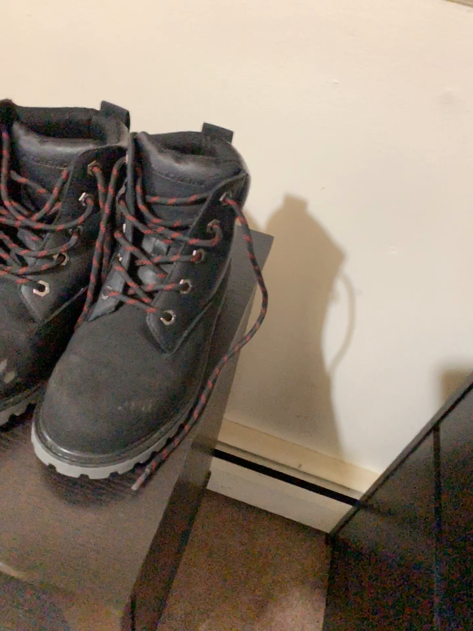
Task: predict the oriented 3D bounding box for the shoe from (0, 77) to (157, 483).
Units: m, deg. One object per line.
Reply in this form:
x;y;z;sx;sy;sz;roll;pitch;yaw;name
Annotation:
-0.149;-0.036;0.336;0.100;0.158;0.222;18;45;5;shoe

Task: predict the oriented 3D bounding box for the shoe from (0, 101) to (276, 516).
-0.063;-0.018;0.341;0.100;0.158;0.232;18;45;5;shoe
